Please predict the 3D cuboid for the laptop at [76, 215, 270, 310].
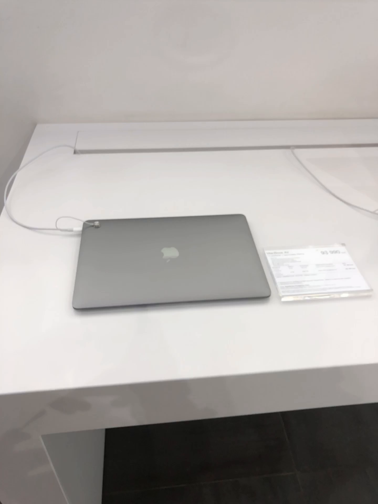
[{"bbox_3d":[-0.032,0.008,0.708,0.292,0.006,0.205,-3,43,-5],"label":"laptop"}]
